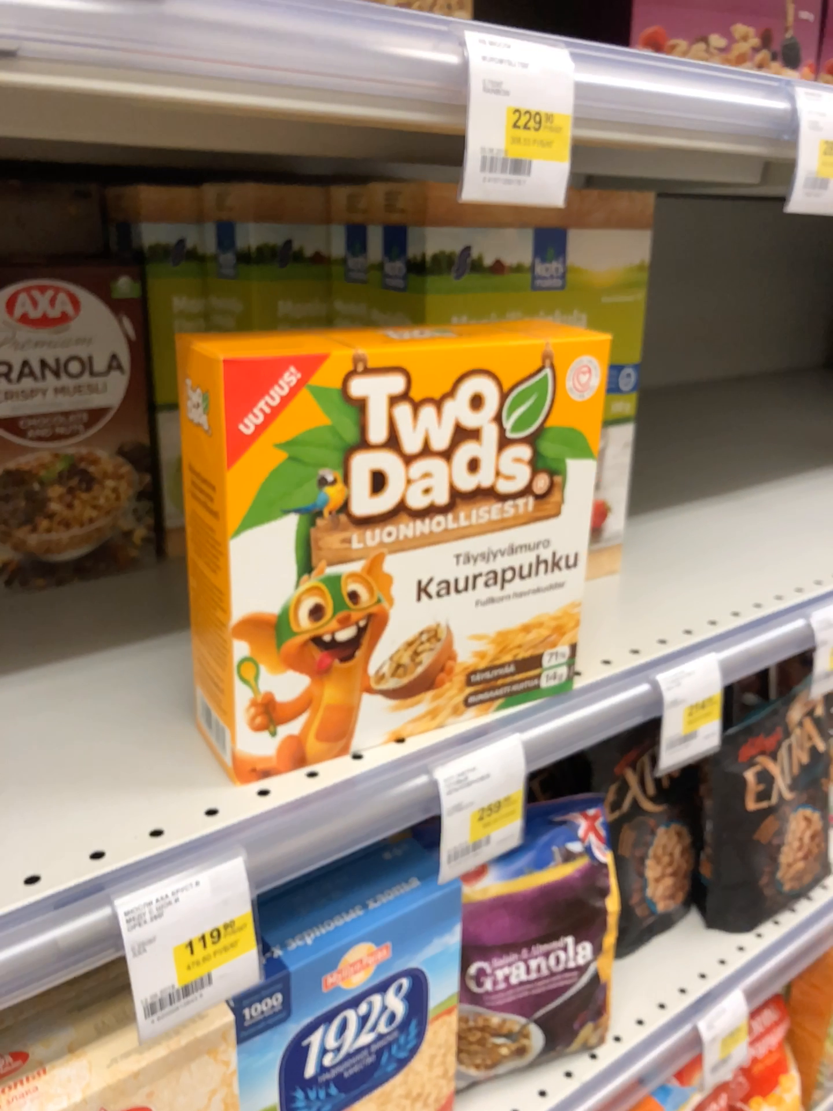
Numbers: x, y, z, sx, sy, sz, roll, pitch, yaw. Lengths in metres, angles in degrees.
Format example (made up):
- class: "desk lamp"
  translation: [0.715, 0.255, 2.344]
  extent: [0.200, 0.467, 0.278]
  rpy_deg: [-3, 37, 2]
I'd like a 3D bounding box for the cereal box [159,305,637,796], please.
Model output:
- class: "cereal box"
  translation: [-0.004, -0.014, 0.437]
  extent: [0.200, 0.189, 0.070]
  rpy_deg: [-10, 22, -29]
